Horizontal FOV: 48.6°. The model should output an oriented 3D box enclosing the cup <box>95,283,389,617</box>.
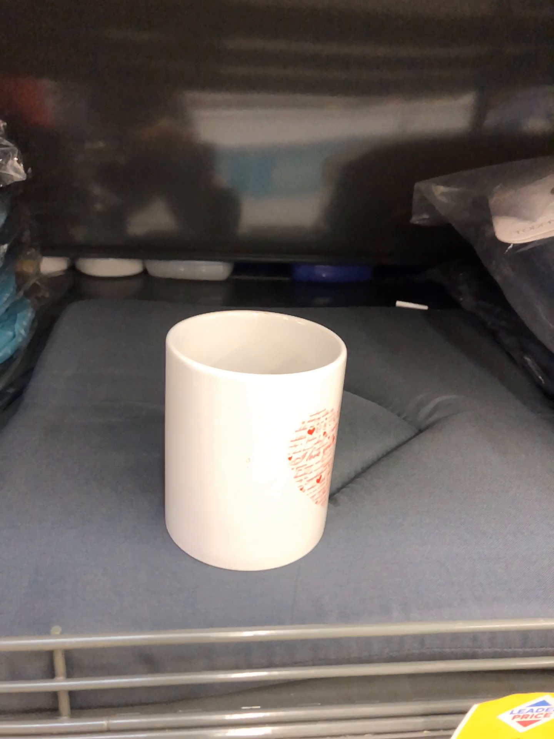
[{"bbox_3d":[-0.011,0.027,0.305,0.090,0.099,0.121,13,26,21],"label":"cup"}]
